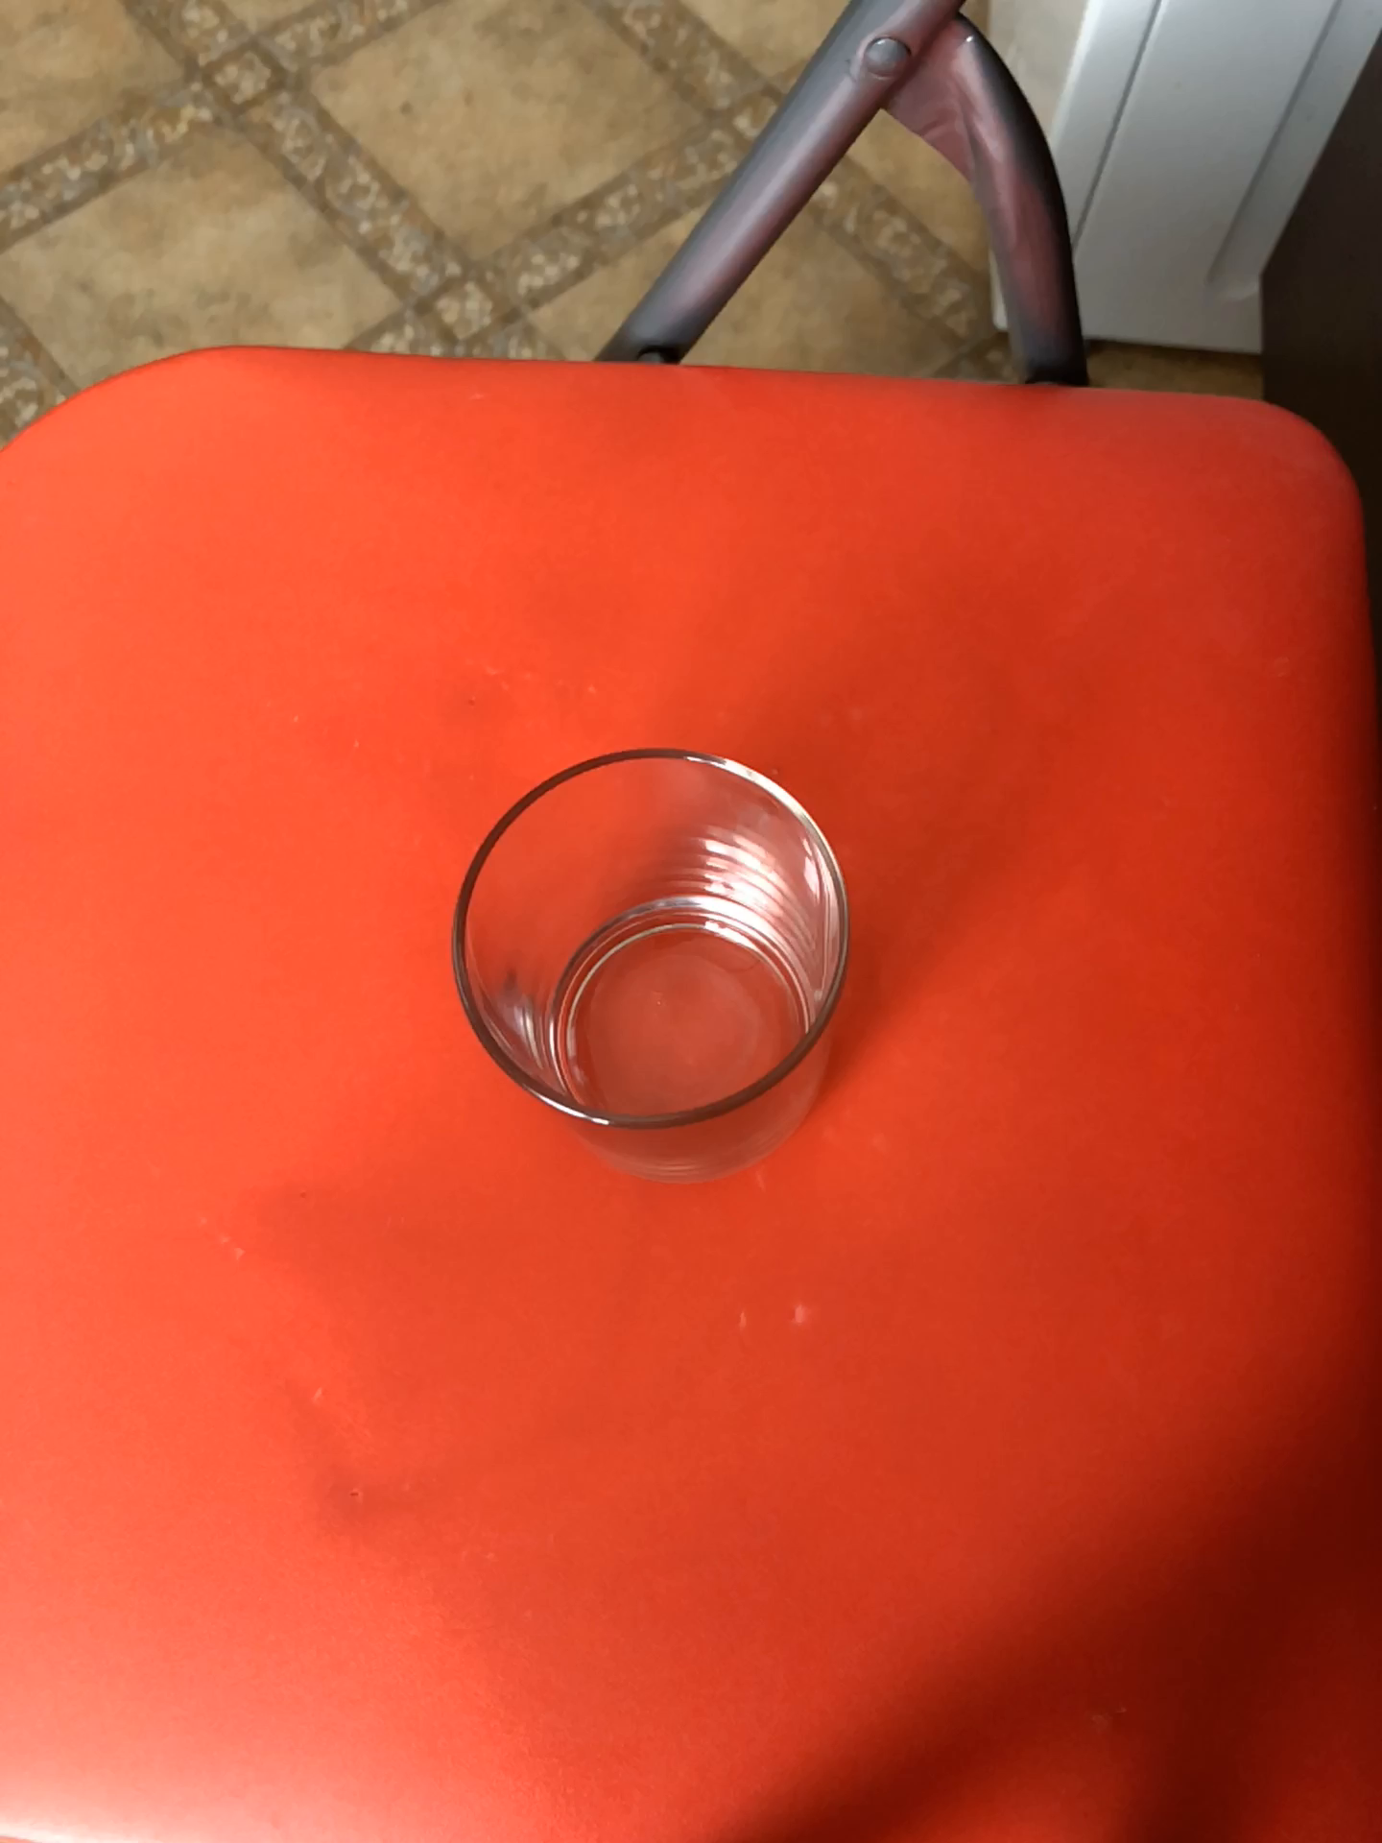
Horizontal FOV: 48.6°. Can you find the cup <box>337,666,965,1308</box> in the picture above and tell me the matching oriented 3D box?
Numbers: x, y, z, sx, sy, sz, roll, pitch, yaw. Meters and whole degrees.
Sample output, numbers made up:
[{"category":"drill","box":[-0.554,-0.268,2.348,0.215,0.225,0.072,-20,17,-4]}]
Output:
[{"category":"cup","box":[-0.006,0.018,0.307,0.080,0.082,0.078,-1,71,3]}]
